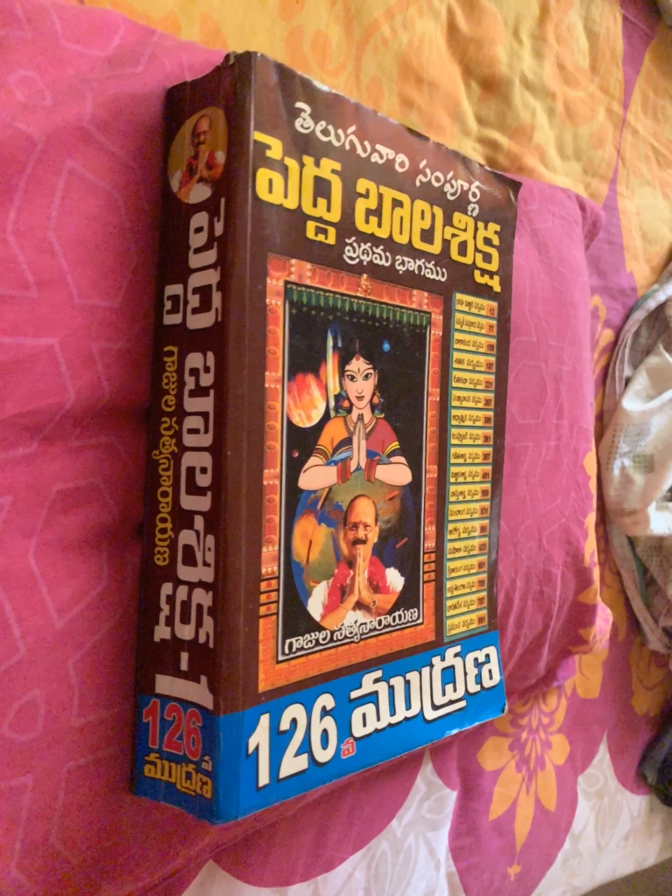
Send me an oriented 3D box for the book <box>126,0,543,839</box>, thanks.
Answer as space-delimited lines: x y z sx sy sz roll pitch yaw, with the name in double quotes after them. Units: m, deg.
0.013 -0.012 0.287 0.181 0.050 0.260 2 89 -42 "book"
